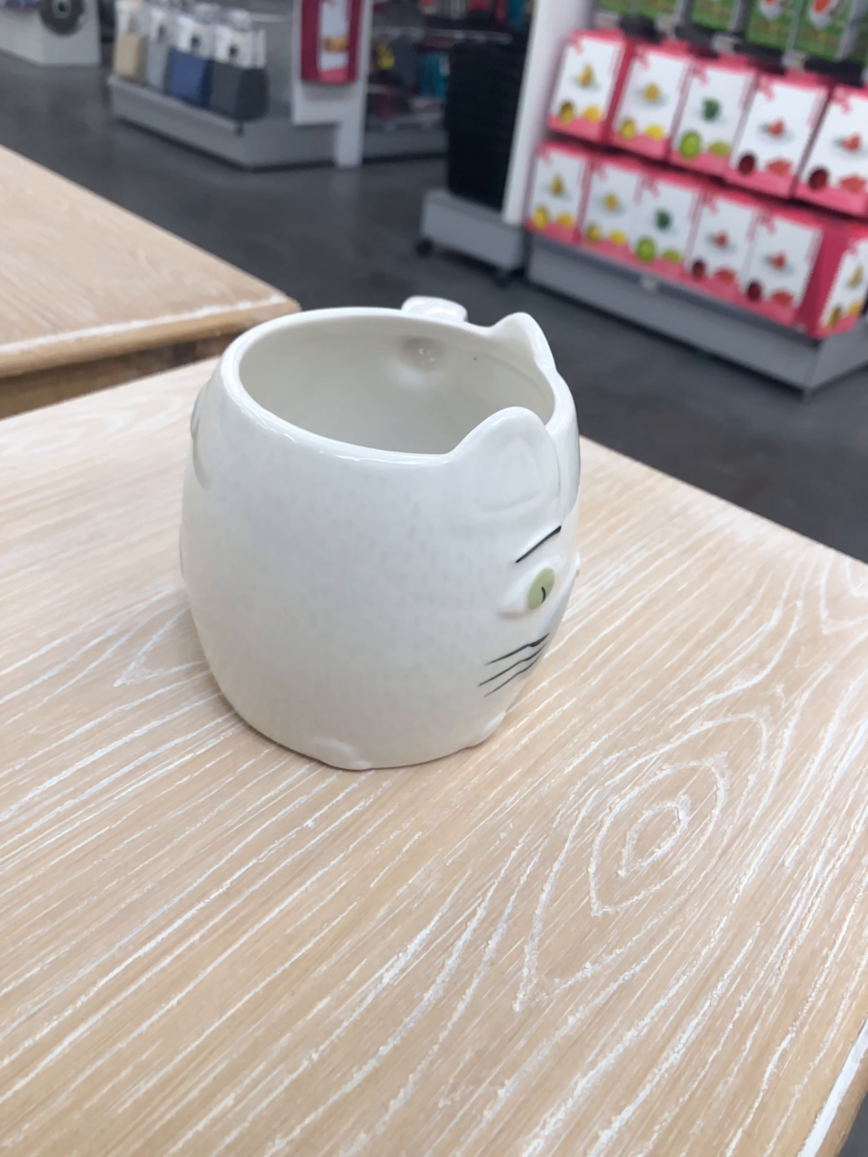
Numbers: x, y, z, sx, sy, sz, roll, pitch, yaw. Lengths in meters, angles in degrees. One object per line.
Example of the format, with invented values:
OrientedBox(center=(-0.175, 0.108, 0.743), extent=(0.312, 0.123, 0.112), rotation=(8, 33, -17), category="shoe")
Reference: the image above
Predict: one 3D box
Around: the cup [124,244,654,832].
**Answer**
OrientedBox(center=(-0.008, -0.019, 0.241), extent=(0.091, 0.073, 0.125), rotation=(13, 34, -3), category="cup")
